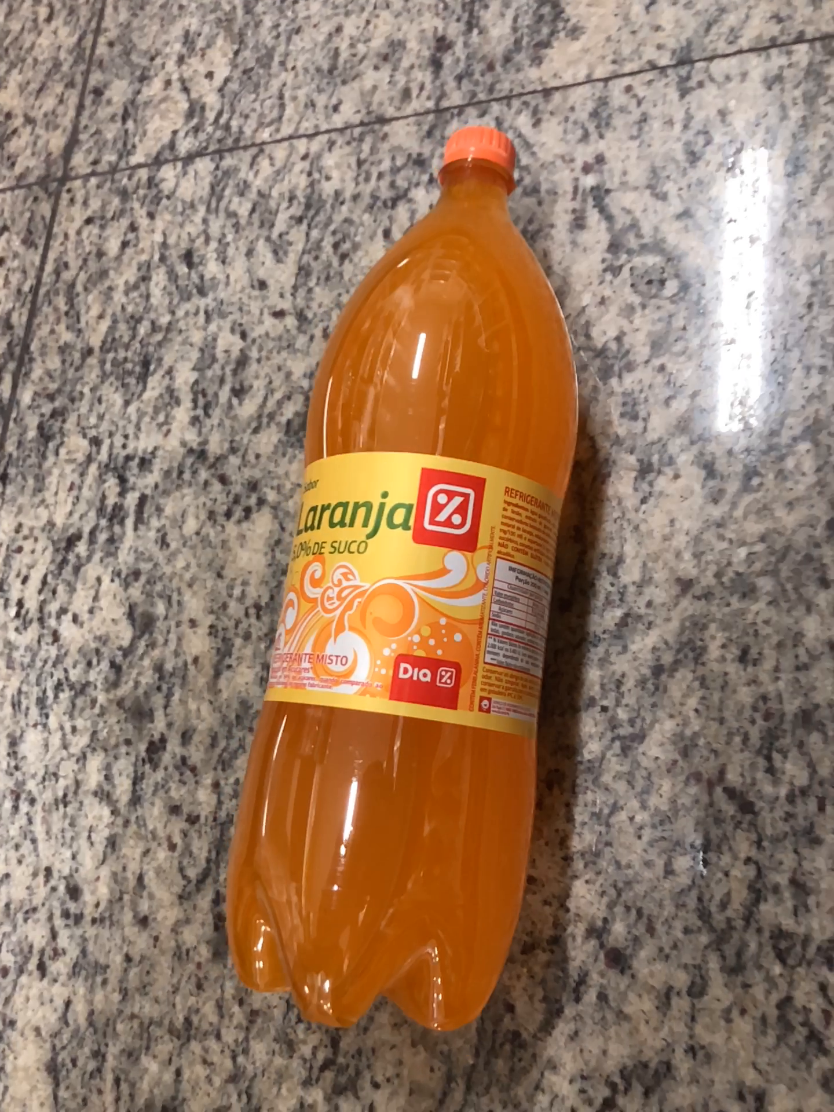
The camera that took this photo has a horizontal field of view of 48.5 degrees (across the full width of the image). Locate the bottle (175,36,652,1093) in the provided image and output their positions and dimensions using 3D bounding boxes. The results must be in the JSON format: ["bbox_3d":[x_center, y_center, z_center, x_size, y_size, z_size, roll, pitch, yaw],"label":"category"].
[{"bbox_3d":[0.011,-0.014,0.351,0.120,0.070,0.350,1,75,23],"label":"bottle"}]
